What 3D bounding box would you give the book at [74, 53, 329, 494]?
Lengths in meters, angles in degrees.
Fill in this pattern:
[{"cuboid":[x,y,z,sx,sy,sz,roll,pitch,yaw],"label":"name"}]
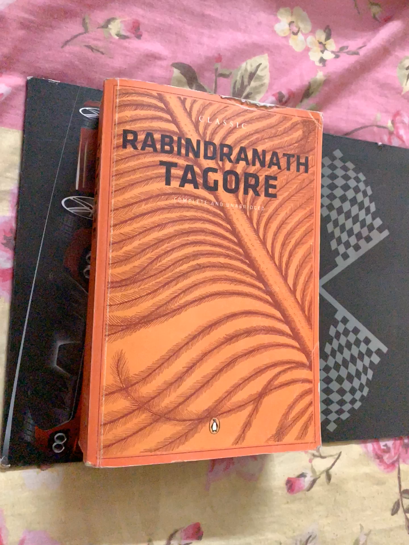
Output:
[{"cuboid":[-0.001,0.002,0.250,0.130,0.060,0.210,4,84,-19],"label":"book"}]
